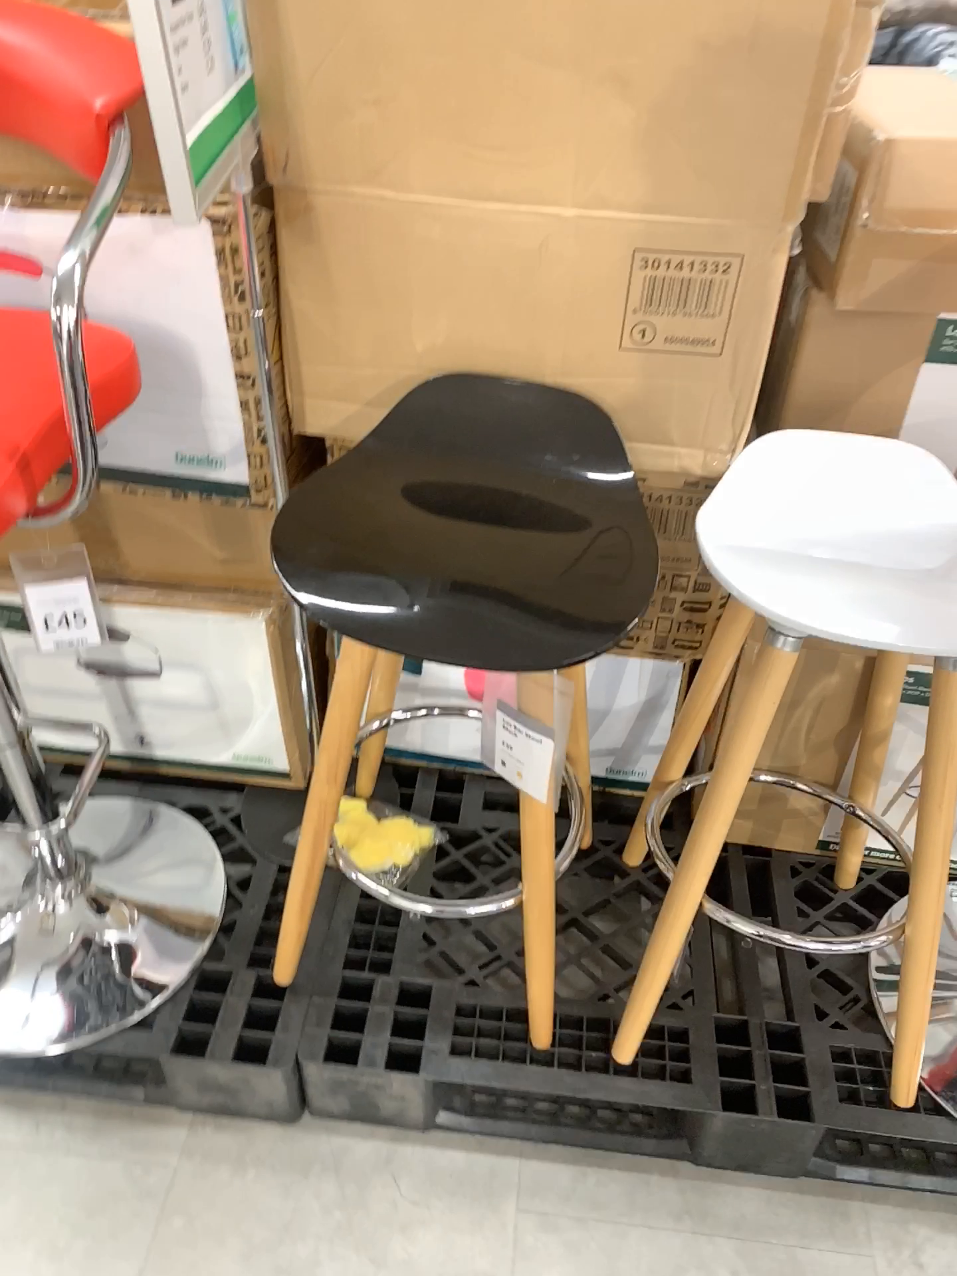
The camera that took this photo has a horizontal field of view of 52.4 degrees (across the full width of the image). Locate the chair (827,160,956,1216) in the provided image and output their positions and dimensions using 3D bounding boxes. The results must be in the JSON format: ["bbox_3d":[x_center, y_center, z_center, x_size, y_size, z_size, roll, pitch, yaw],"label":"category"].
[{"bbox_3d":[0.783,0.113,0.984,0.508,0.980,0.454,3,38,1],"label":"chair"}]

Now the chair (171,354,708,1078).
[{"bbox_3d":[-0.012,0.093,1.158,0.429,0.673,0.433,10,38,9],"label":"chair"}]

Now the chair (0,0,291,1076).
[{"bbox_3d":[-0.560,-0.039,1.030,0.548,1.029,0.454,3,38,1],"label":"chair"}]

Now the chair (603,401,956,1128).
[{"bbox_3d":[0.393,0.148,1.153,0.409,0.663,0.484,6,38,5],"label":"chair"}]
